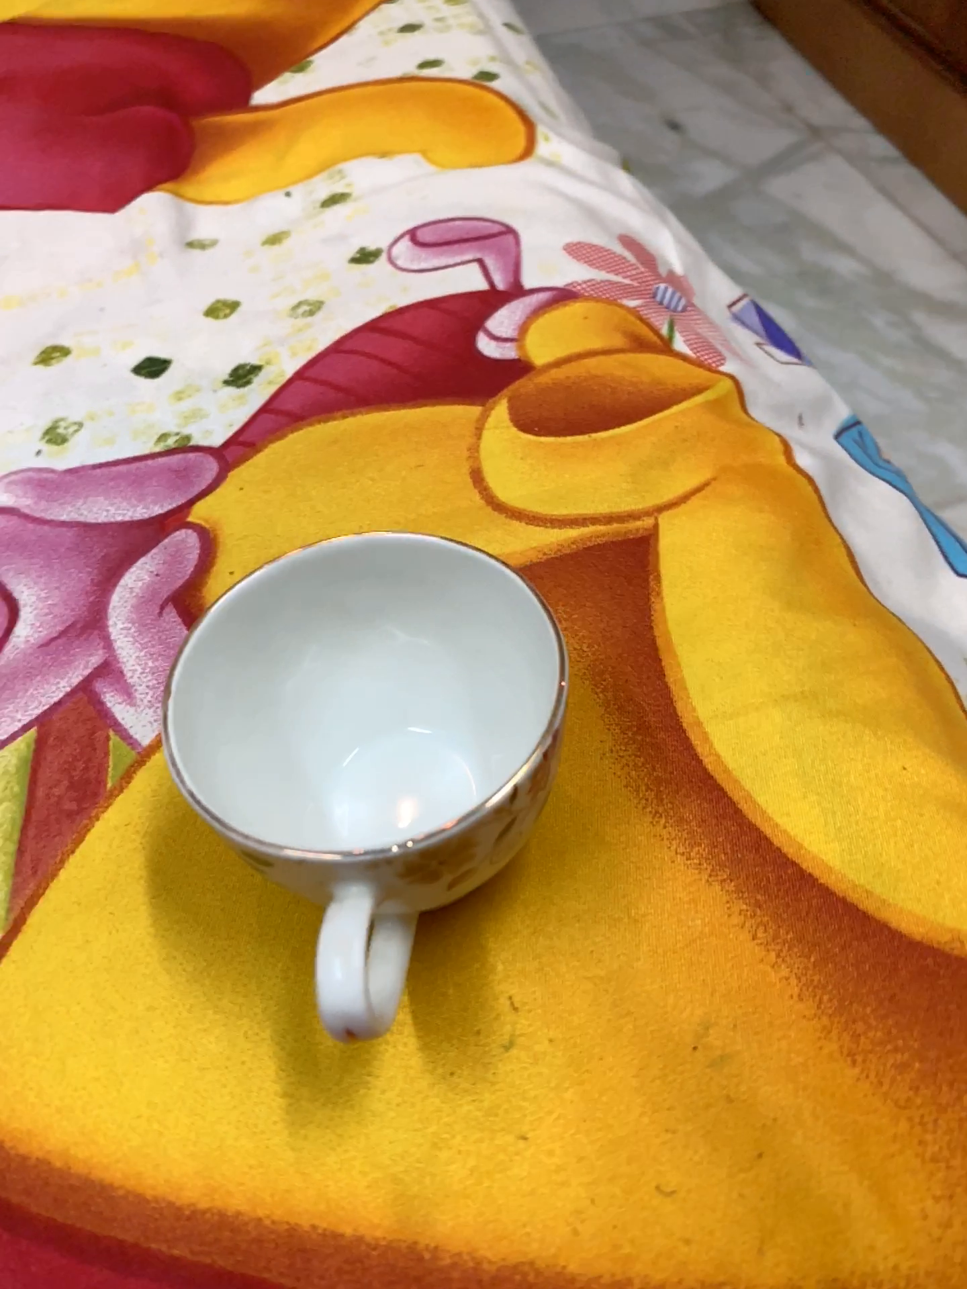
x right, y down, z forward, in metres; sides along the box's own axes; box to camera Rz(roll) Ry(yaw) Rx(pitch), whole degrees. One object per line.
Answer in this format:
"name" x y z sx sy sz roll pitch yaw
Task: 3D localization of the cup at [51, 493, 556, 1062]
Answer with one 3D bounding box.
"cup" -0.028 0.027 0.215 0.080 0.060 0.101 -4 51 4
